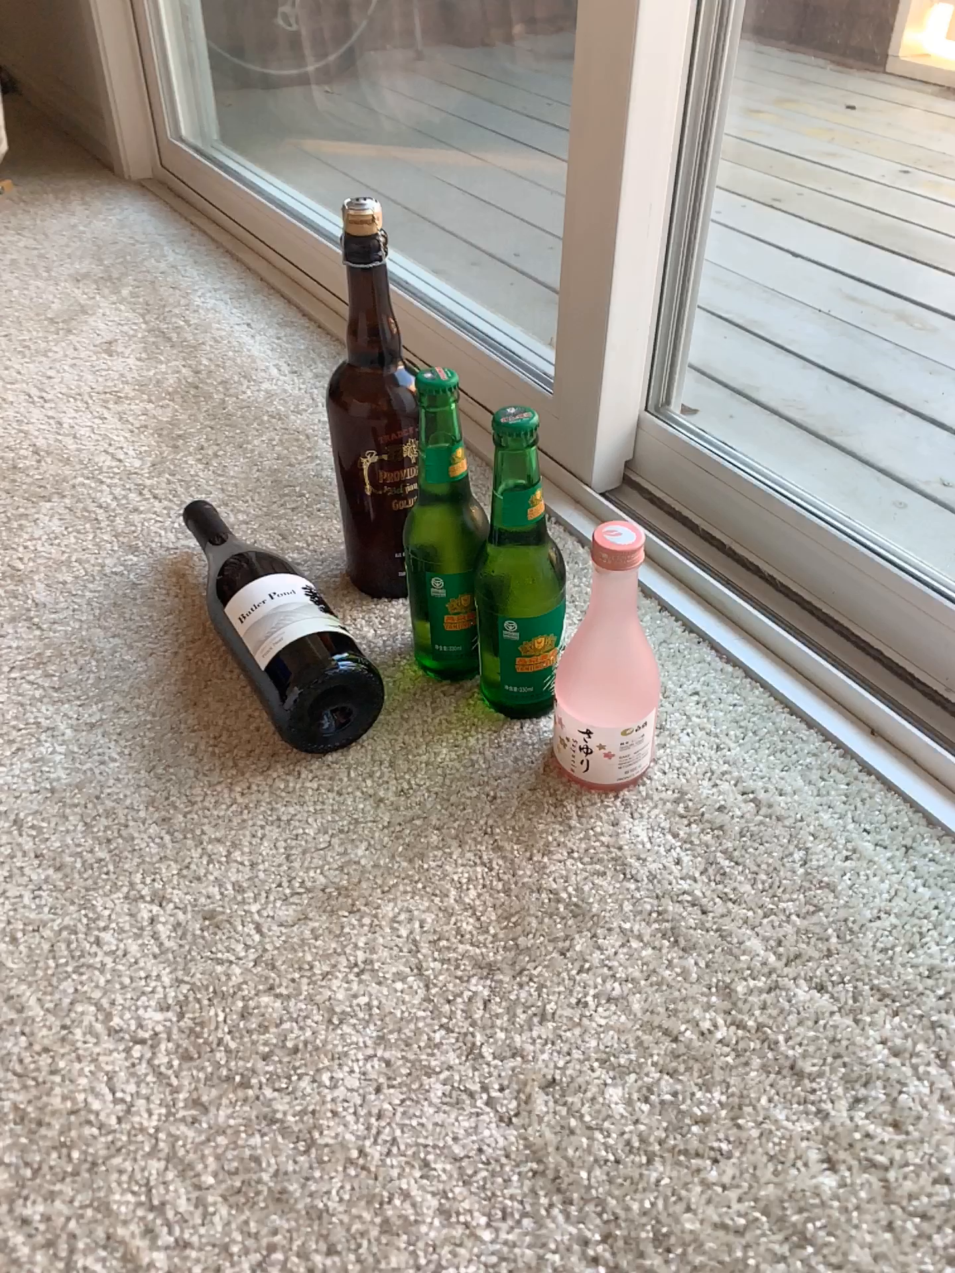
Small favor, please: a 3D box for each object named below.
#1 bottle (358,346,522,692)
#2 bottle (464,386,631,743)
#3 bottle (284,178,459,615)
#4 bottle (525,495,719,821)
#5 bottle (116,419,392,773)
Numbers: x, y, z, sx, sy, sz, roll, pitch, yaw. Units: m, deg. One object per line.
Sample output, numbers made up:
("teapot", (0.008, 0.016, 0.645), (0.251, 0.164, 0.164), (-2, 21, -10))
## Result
("bottle", (-0.024, -0.073, 0.651), (0.070, 0.209, 0.070), (1, 40, 0))
("bottle", (0.039, -0.041, 0.642), (0.070, 0.219, 0.070), (1, 40, 0))
("bottle", (-0.069, -0.163, 0.711), (0.080, 0.288, 0.080), (1, 40, 0))
("bottle", (0.082, 0.016, 0.598), (0.070, 0.179, 0.070), (1, 40, 0))
("bottle", (-0.164, -0.040, 0.693), (0.070, 0.080, 0.281), (-23, 53, -26))
